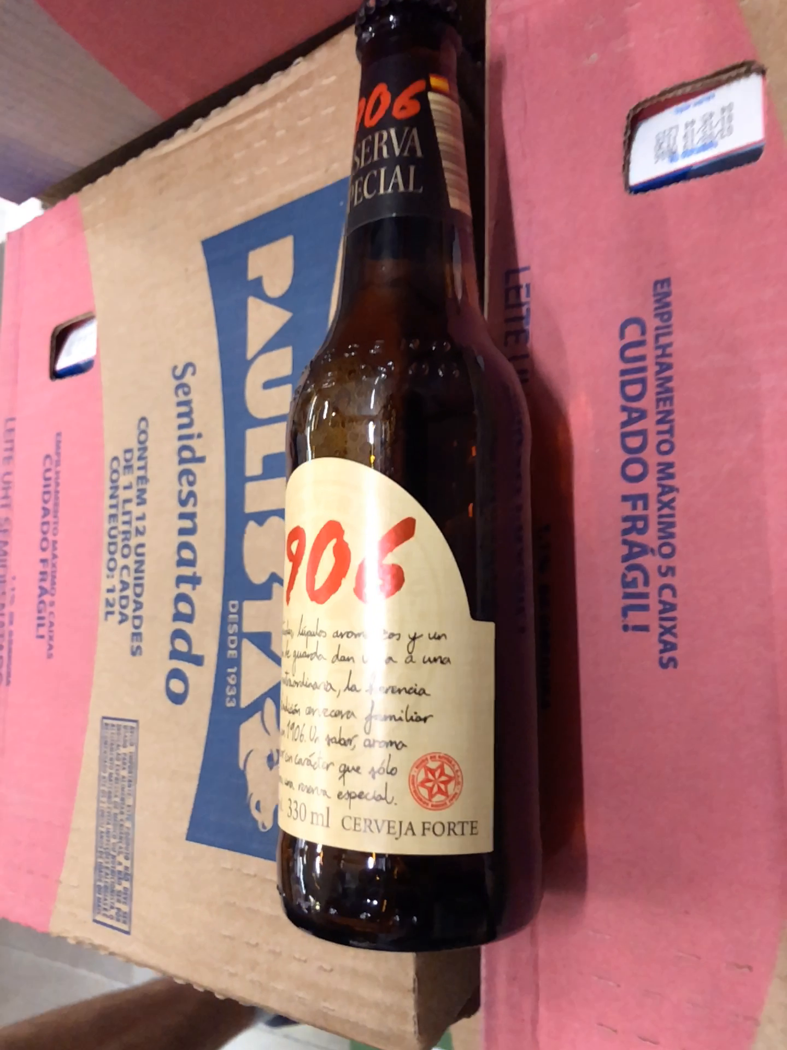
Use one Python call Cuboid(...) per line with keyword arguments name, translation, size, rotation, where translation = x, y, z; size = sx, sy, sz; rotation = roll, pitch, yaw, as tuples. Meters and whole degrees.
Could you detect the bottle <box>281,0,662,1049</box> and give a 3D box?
Cuboid(name="bottle", translation=(0.019, -0.030, 0.226), size=(0.070, 0.060, 0.270), rotation=(-5, 83, 37))
